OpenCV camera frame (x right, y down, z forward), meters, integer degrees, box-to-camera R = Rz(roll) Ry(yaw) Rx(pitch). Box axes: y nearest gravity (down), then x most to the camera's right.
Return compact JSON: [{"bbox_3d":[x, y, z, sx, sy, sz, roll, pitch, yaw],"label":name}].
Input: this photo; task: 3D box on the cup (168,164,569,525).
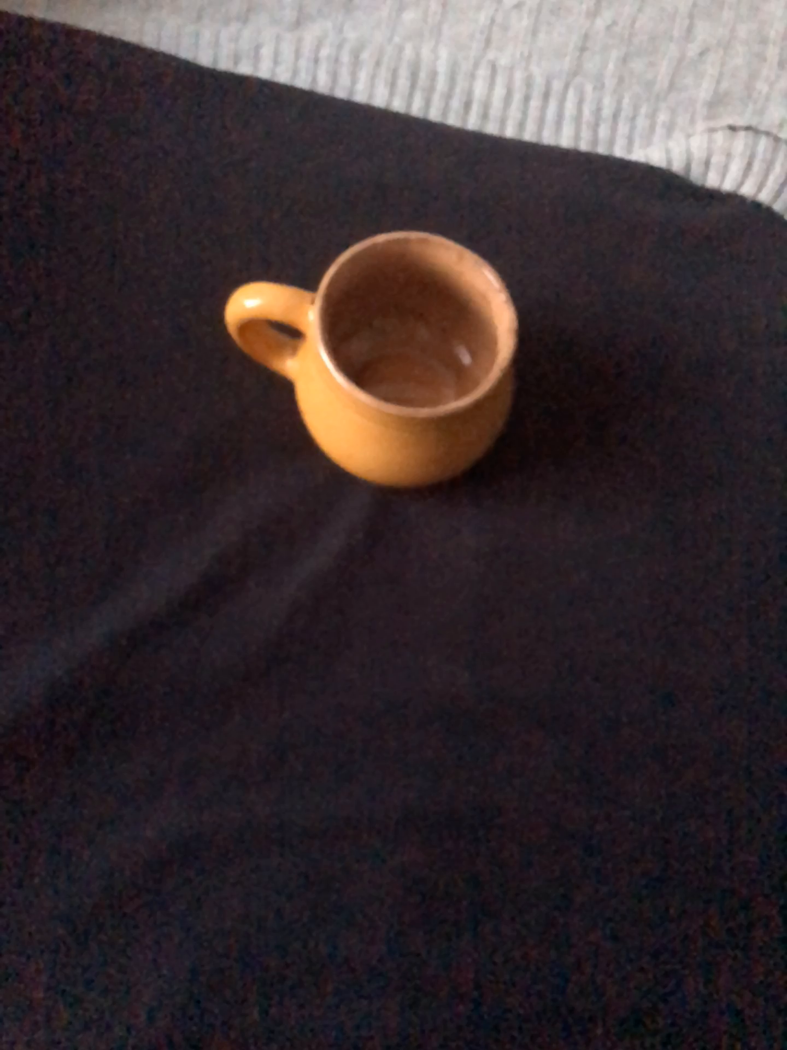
[{"bbox_3d":[-0.009,-0.066,0.333,0.119,0.058,0.082,19,69,1],"label":"cup"}]
